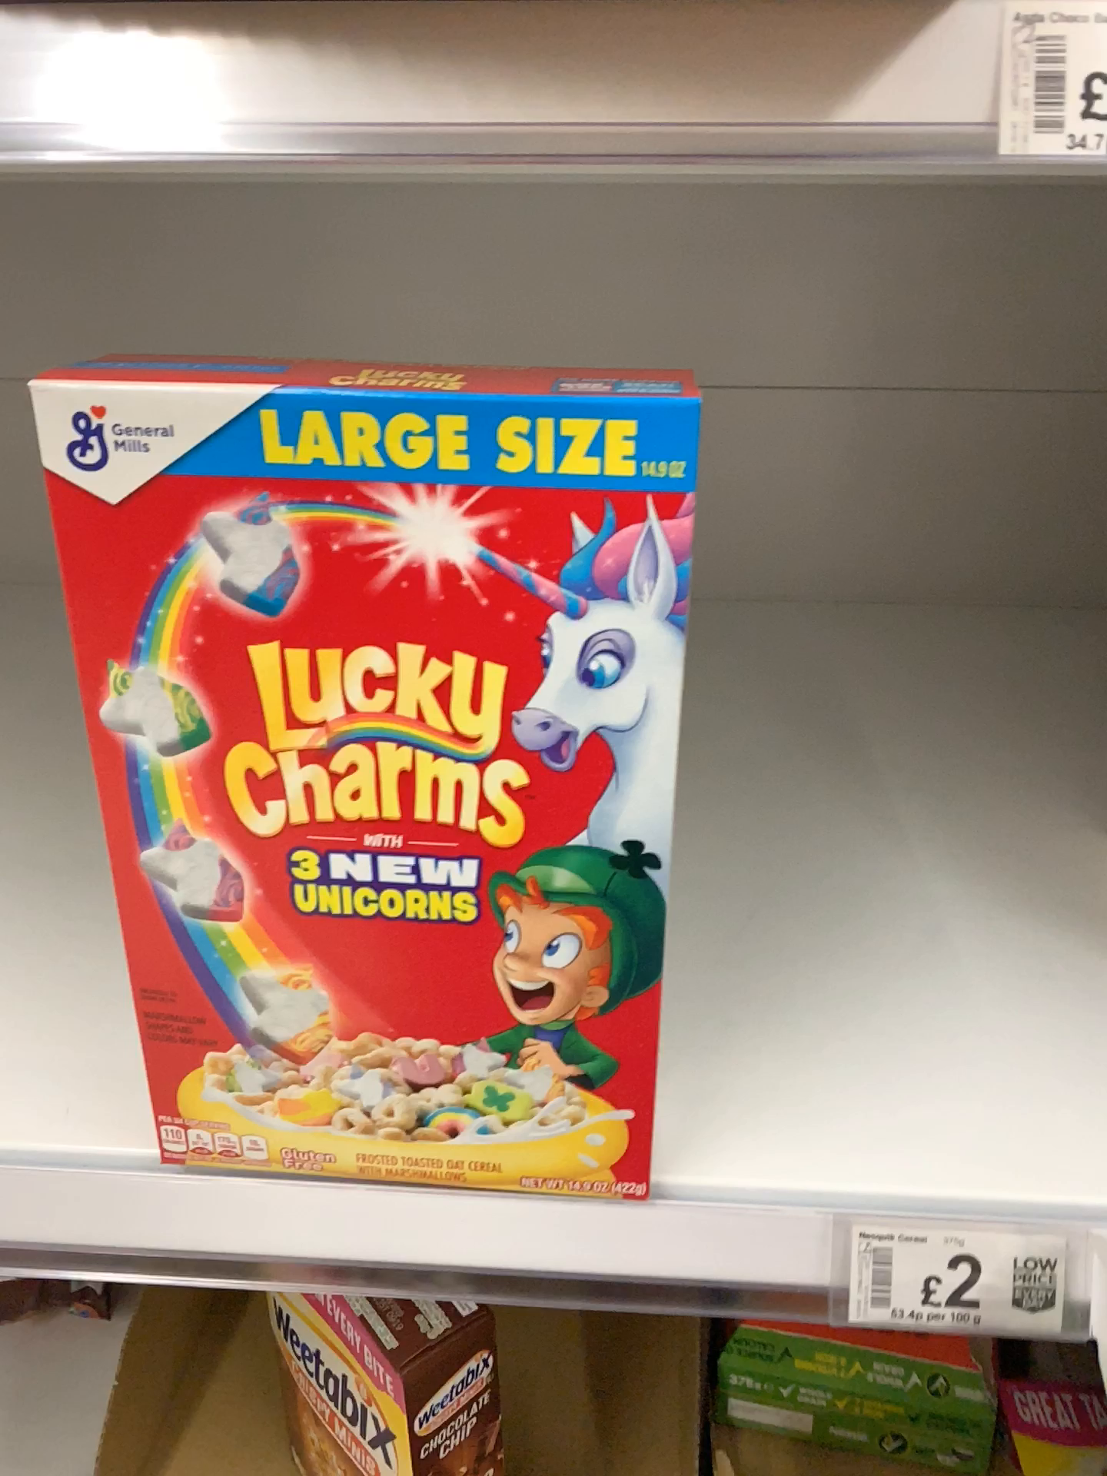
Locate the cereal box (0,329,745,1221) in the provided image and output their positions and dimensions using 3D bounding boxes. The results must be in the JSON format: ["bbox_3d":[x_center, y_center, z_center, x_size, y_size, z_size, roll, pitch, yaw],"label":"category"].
[{"bbox_3d":[-0.054,0.020,0.383,0.210,0.288,0.071,2,24,5],"label":"cereal box"}]
